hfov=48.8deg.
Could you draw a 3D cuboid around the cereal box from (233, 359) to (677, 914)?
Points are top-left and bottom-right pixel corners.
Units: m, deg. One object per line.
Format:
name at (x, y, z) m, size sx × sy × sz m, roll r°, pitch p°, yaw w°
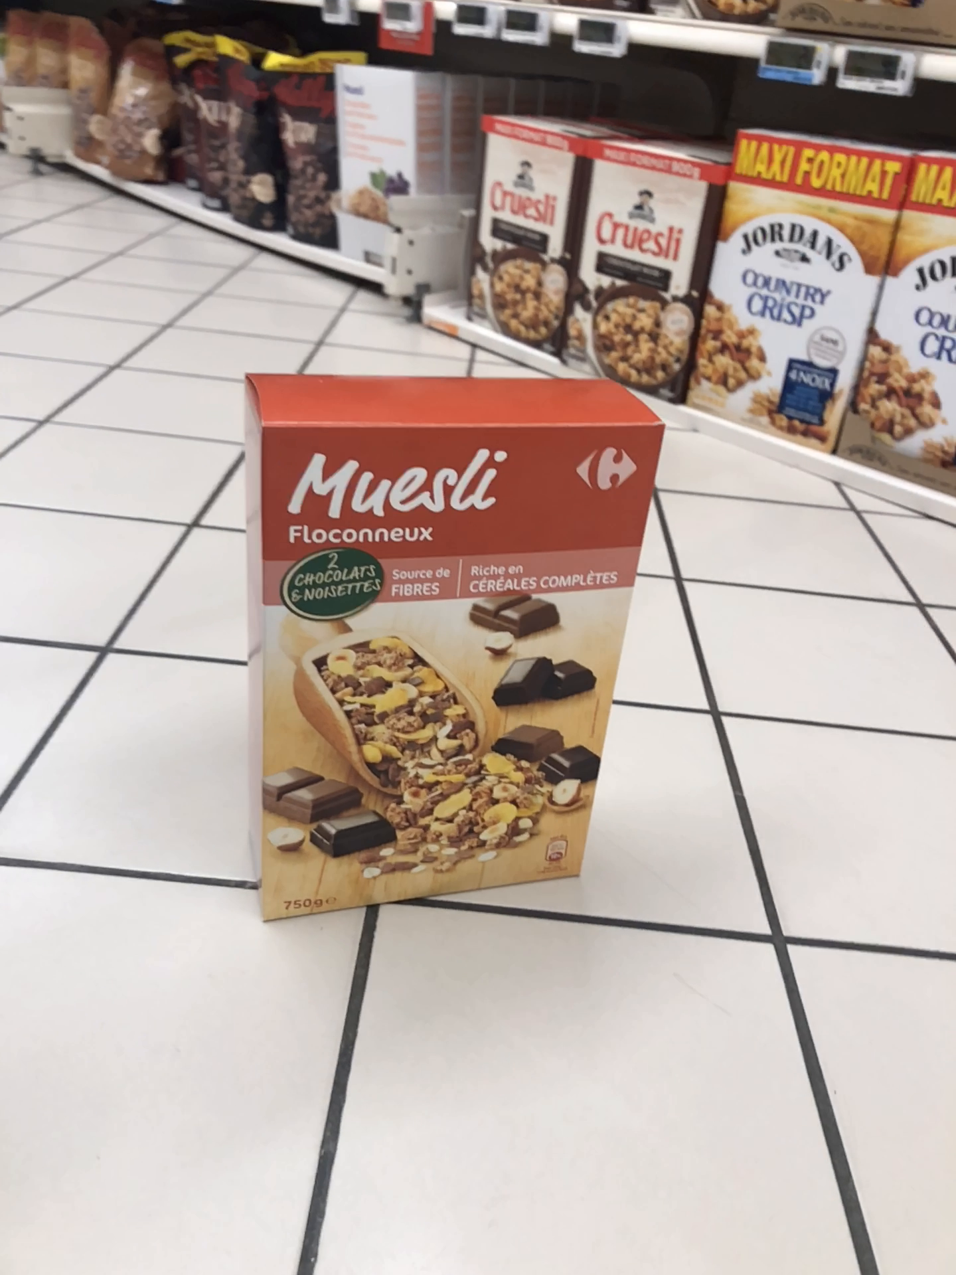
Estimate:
cereal box at (-0.023, 0.002, 0.488) m, size 0.170 × 0.239 × 0.070 m, roll -3°, pitch 30°, yaw -19°
